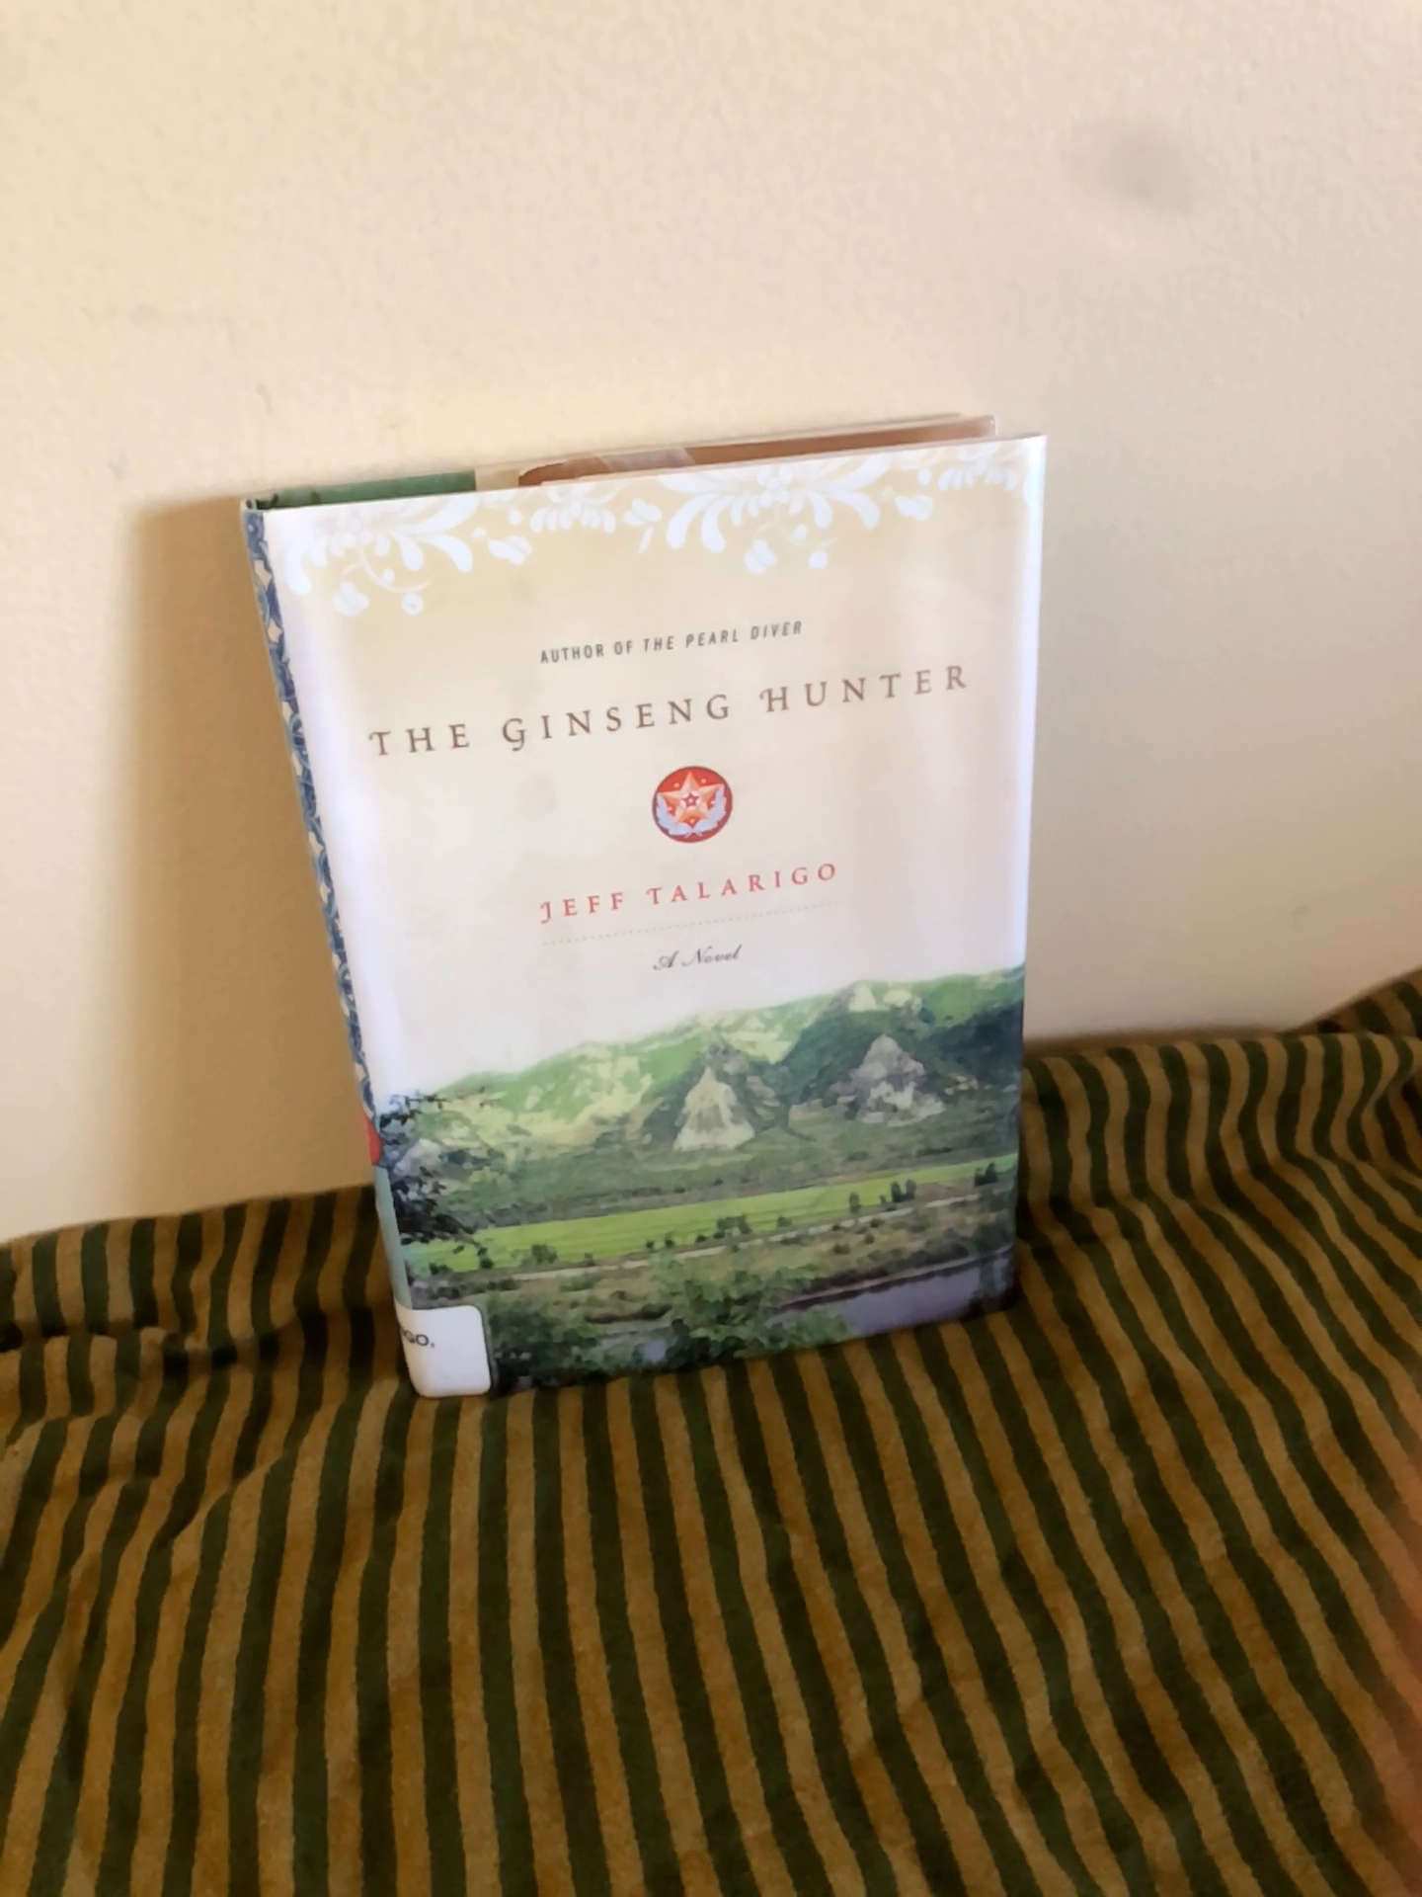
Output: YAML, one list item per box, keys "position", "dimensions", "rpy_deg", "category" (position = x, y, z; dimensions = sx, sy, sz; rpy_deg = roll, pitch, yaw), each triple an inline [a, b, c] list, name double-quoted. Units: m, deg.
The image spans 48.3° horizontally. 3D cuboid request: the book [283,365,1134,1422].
- position: [0.001, -0.002, 0.313]
  dimensions: [0.137, 0.203, 0.029]
  rpy_deg: [-8, 32, -12]
  category: "book"
